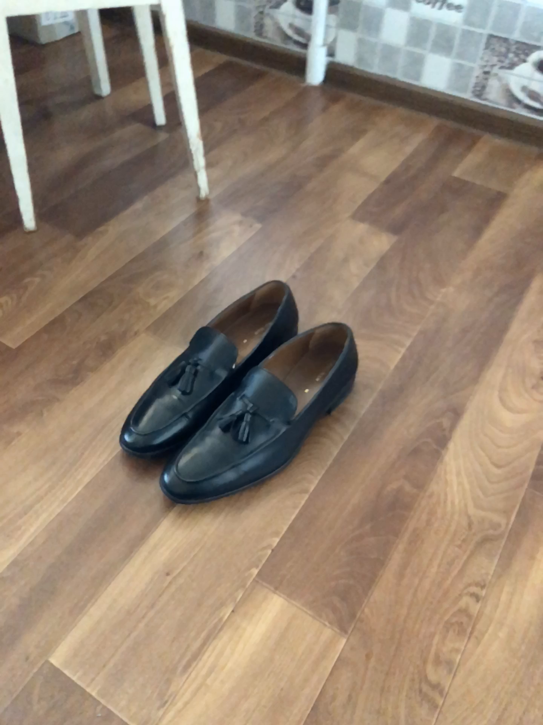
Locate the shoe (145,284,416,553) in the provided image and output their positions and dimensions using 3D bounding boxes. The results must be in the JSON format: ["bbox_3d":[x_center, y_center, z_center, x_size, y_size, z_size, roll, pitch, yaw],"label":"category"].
[{"bbox_3d":[0.019,0.051,0.682,0.110,0.119,0.301,37,56,27],"label":"shoe"}]

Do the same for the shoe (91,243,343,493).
[{"bbox_3d":[-0.052,-0.005,0.732,0.110,0.119,0.301,32,54,24],"label":"shoe"}]
